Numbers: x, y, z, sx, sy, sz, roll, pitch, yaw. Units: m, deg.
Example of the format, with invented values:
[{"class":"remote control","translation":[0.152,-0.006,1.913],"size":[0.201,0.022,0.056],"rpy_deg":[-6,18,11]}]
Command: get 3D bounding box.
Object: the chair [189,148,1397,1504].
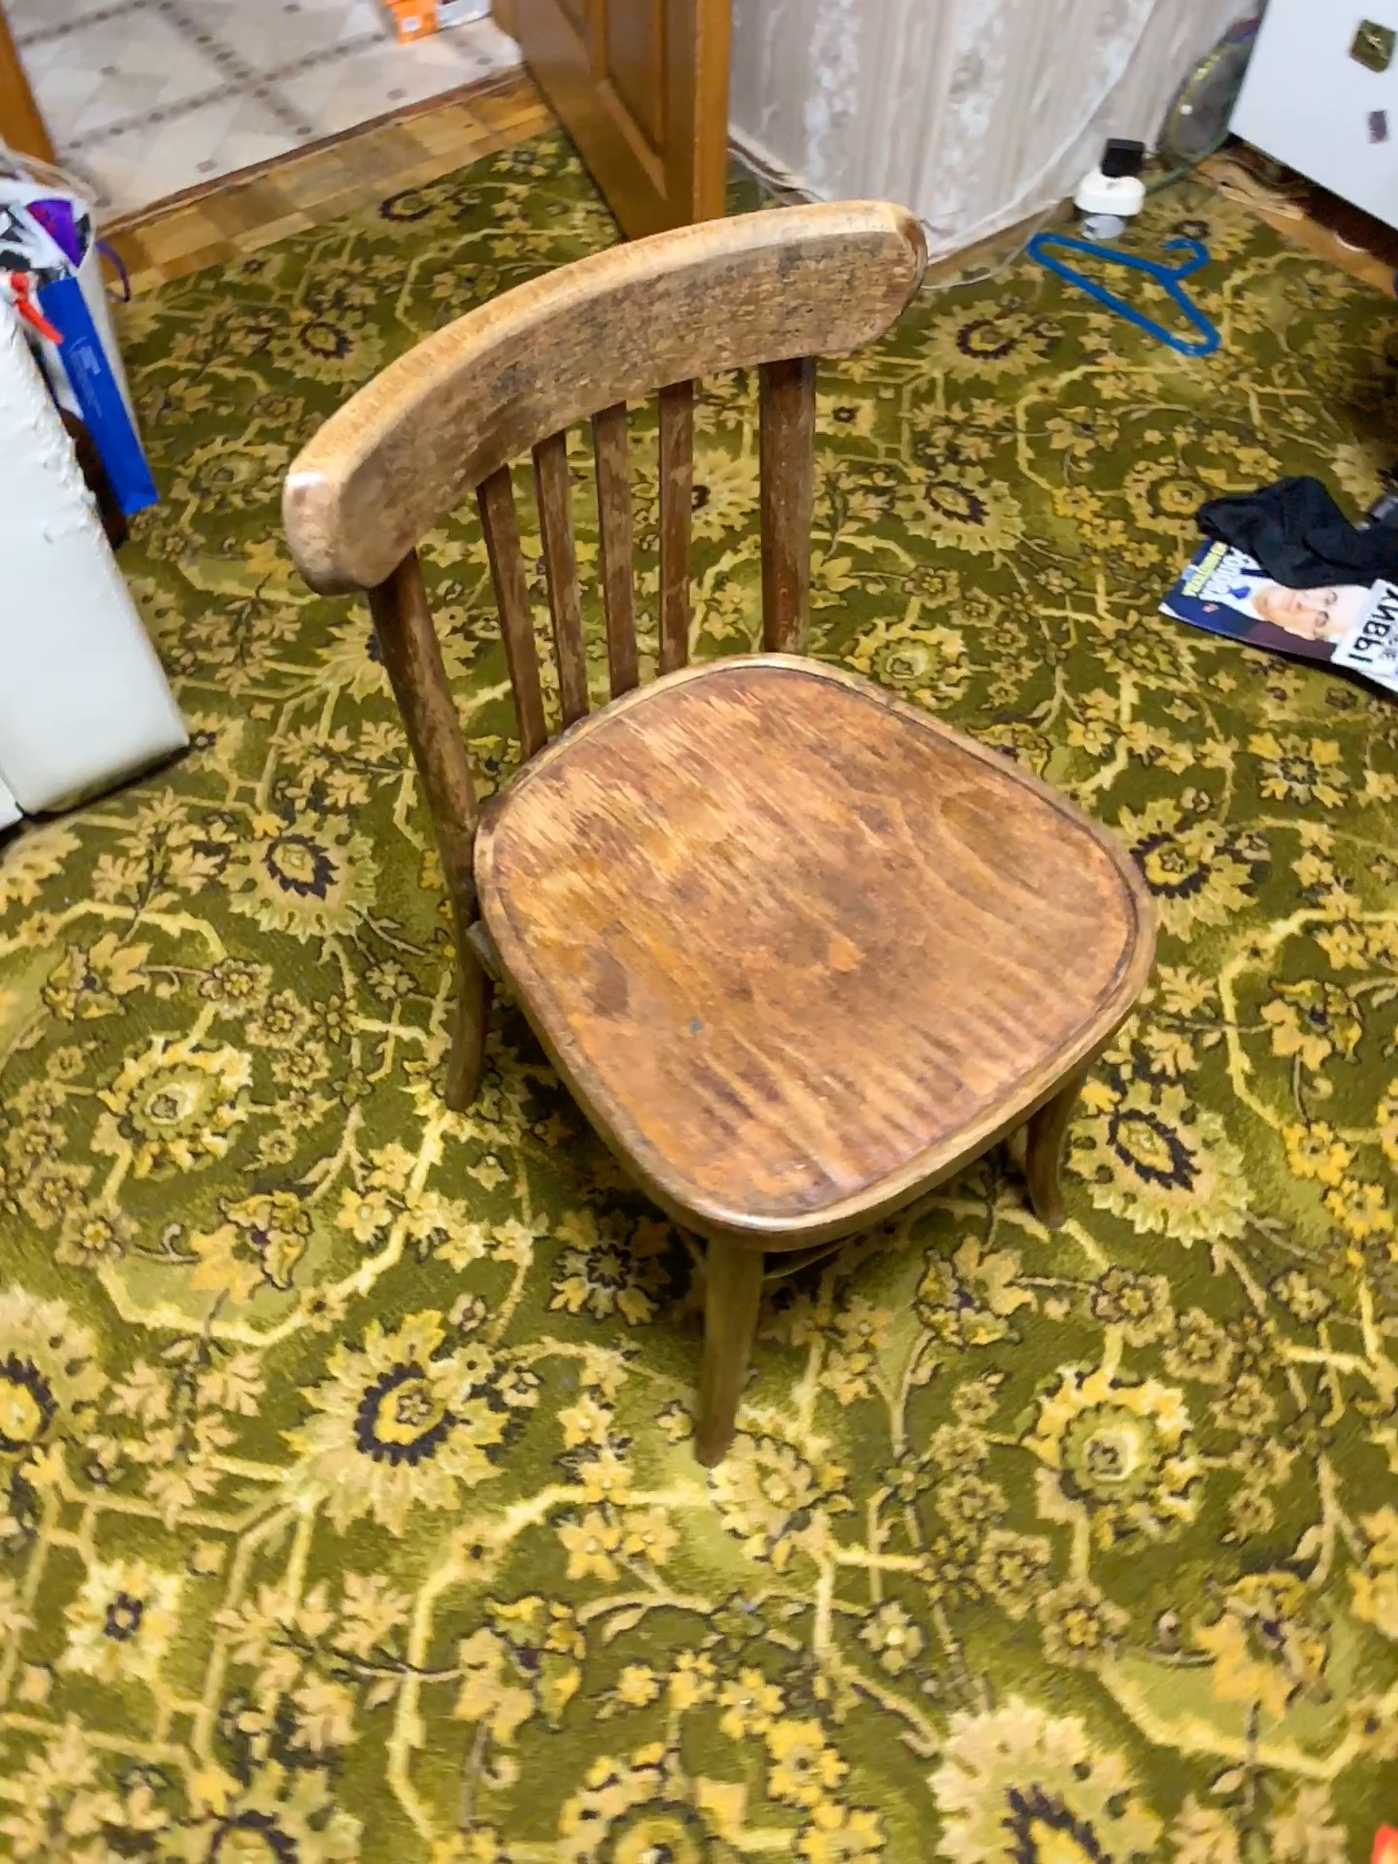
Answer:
[{"class":"chair","translation":[0.040,0.004,0.941],"size":[0.400,0.735,0.412],"rpy_deg":[-30,63,-18]}]
